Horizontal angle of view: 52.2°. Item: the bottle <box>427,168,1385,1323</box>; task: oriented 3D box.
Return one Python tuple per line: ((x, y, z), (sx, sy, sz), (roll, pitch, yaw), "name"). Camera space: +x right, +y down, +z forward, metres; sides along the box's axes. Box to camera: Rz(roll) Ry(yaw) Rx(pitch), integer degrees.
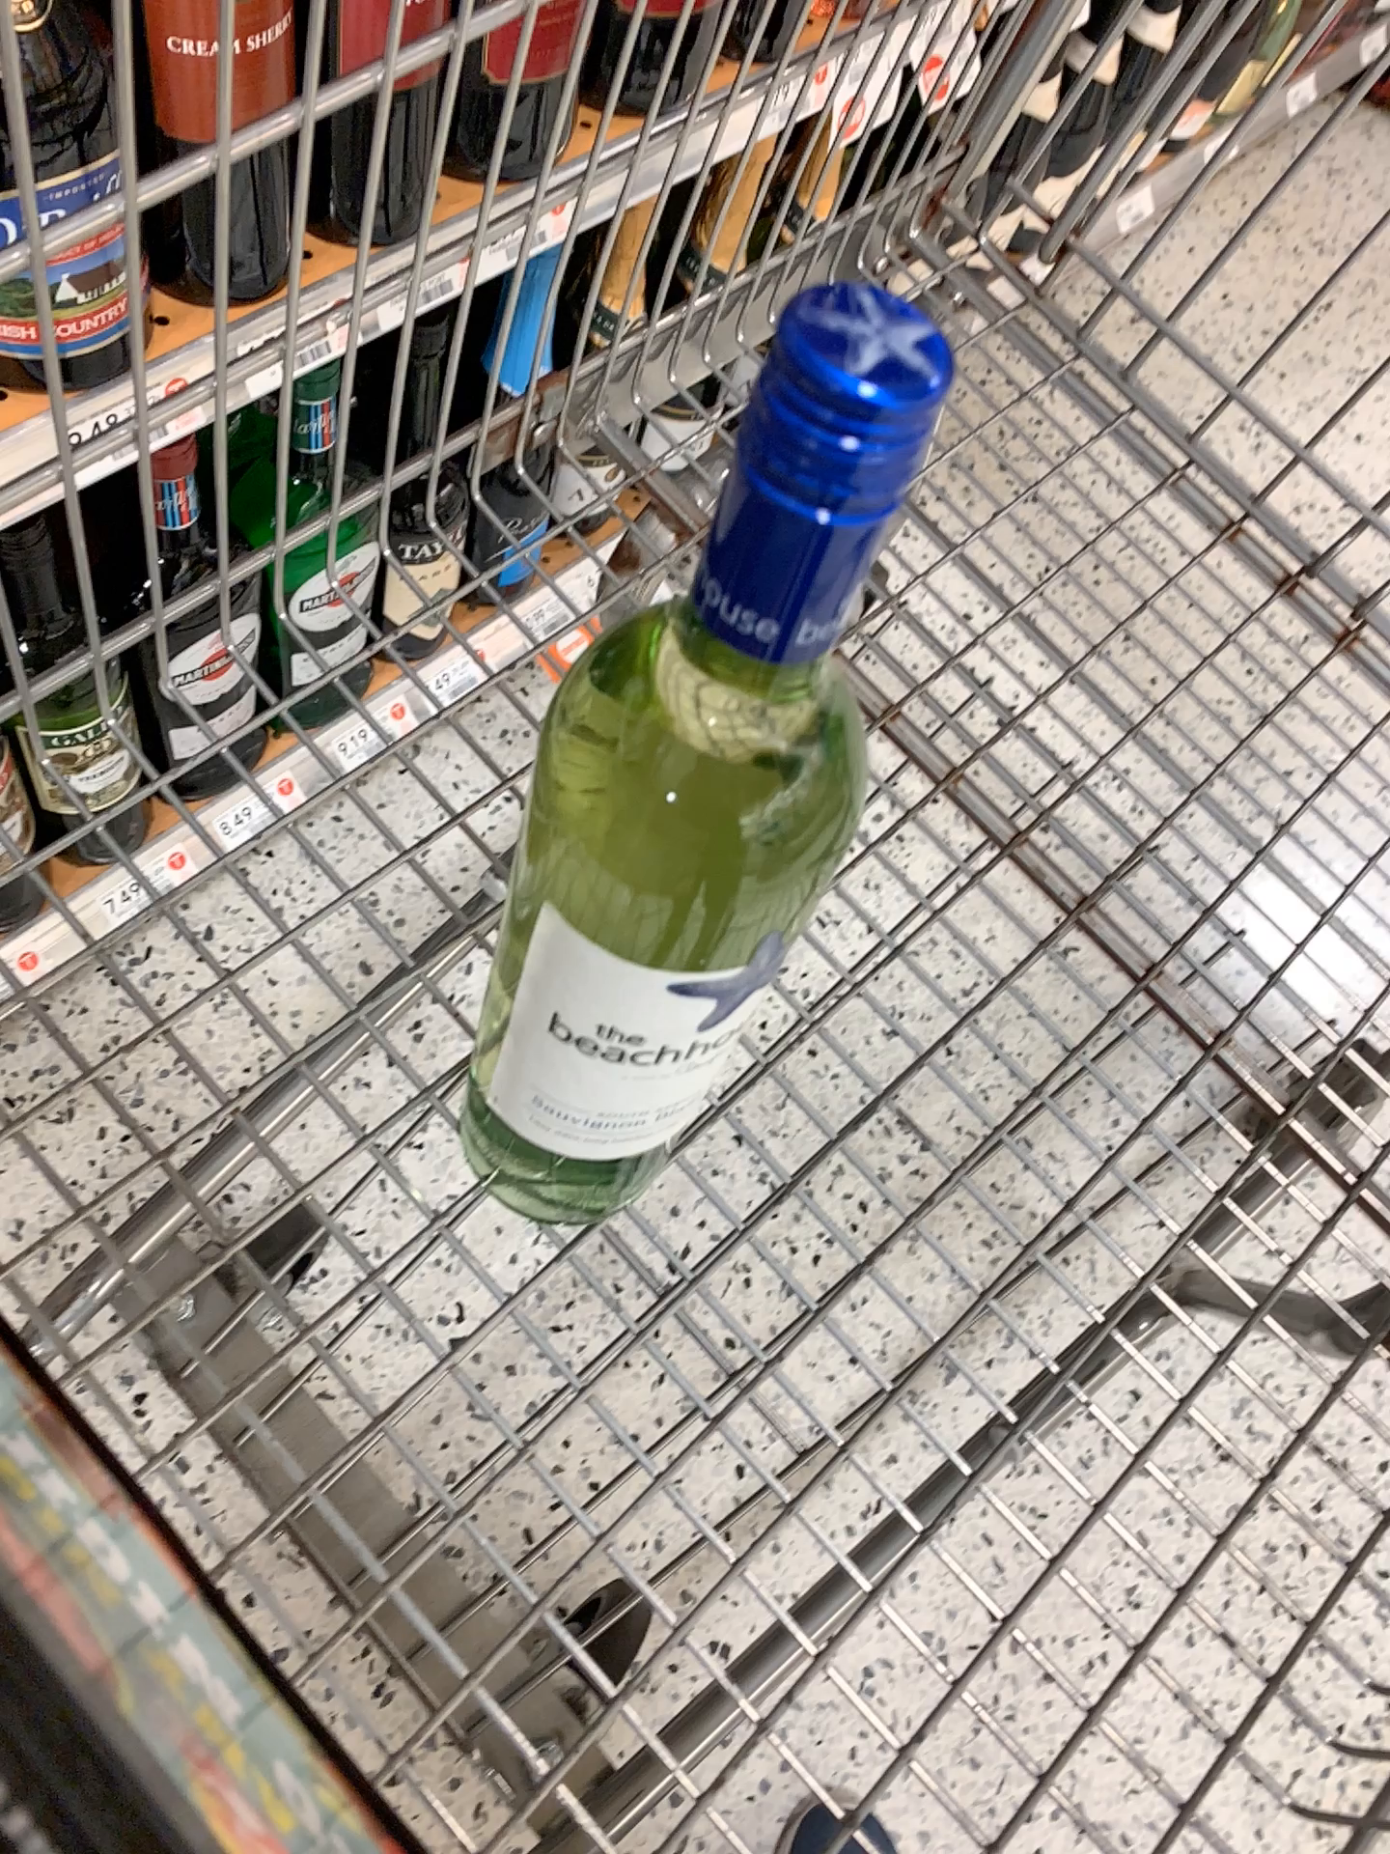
((0.007, -0.001, 0.360), (0.090, 0.338, 0.090), (7, 61, -12), "bottle")
